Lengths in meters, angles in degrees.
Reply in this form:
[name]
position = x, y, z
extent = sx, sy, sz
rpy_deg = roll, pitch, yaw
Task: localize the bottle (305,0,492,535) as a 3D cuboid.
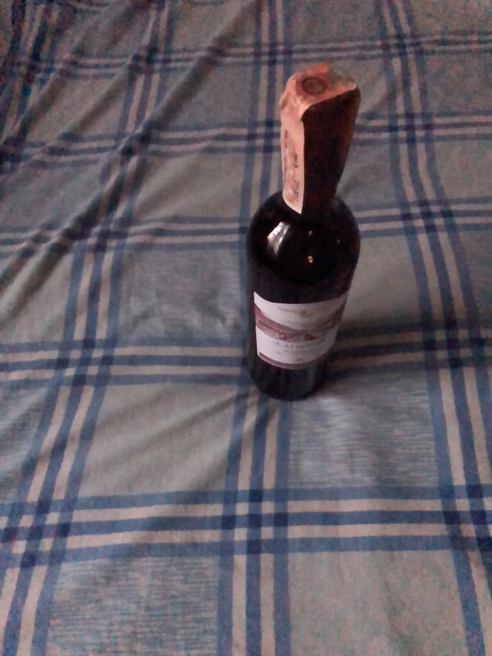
[bottle]
position = 0.082, 0.012, 0.248
extent = 0.081, 0.305, 0.071
rpy_deg = 21, 62, 16
